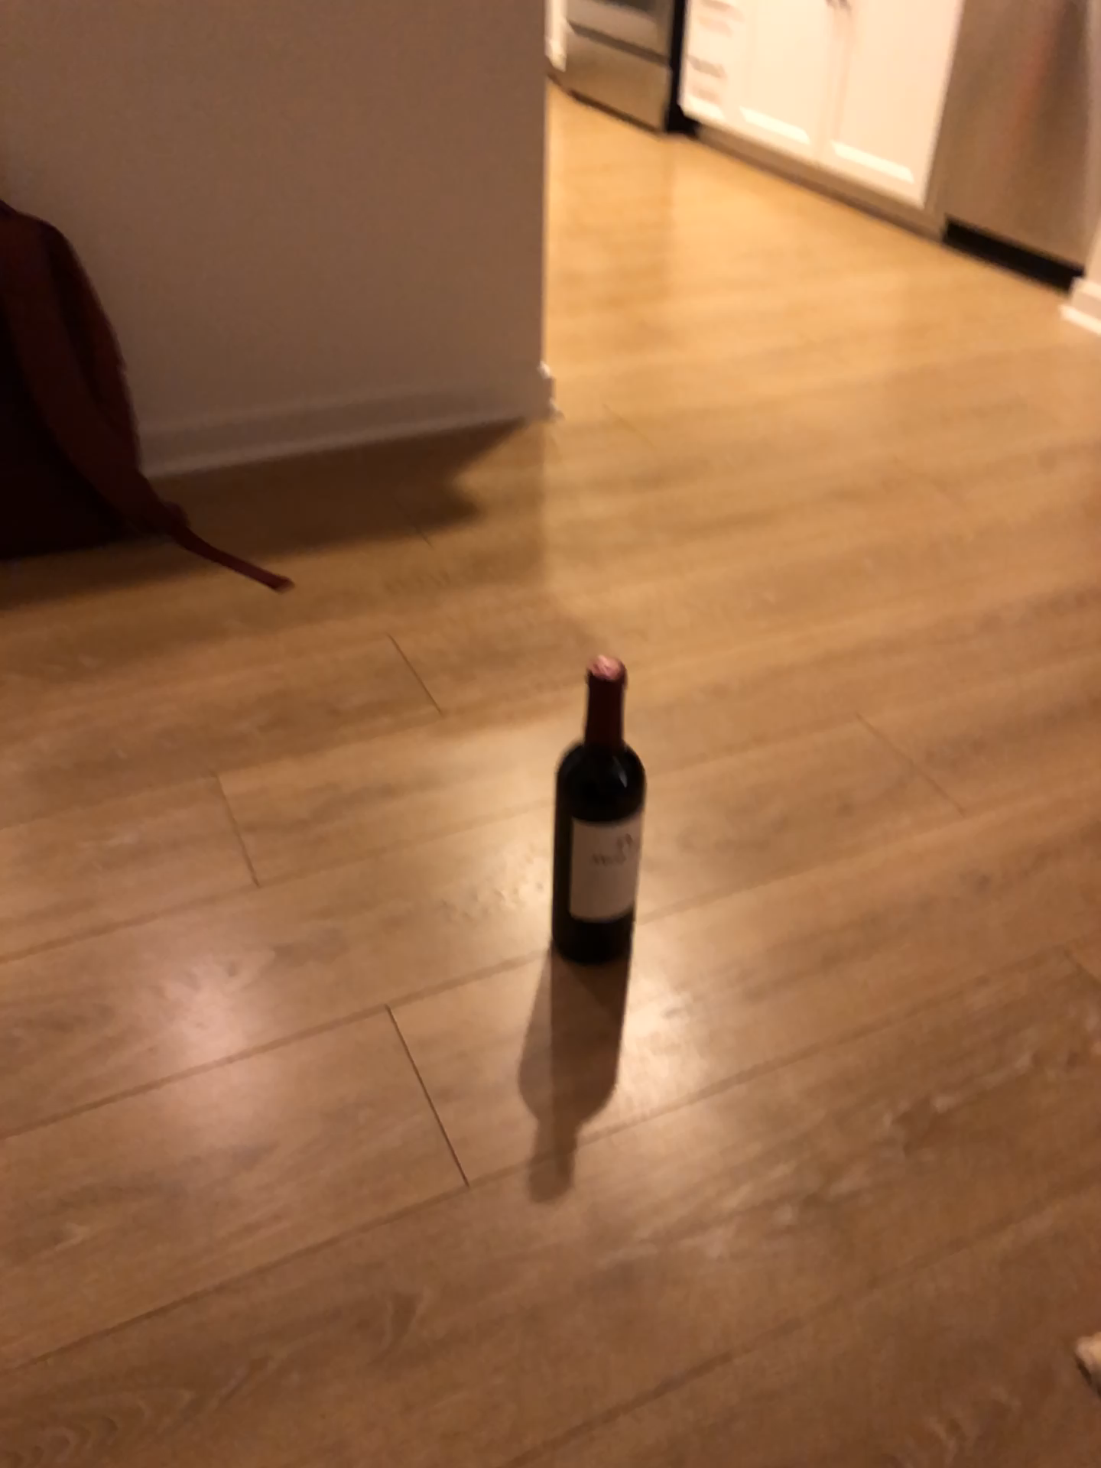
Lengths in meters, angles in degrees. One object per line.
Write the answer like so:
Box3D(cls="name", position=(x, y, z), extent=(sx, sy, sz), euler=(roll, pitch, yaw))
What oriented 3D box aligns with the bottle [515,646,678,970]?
Box3D(cls="bottle", position=(0.031, 0.066, 1.021), extent=(0.110, 0.258, 0.101), euler=(1, 37, -1))
